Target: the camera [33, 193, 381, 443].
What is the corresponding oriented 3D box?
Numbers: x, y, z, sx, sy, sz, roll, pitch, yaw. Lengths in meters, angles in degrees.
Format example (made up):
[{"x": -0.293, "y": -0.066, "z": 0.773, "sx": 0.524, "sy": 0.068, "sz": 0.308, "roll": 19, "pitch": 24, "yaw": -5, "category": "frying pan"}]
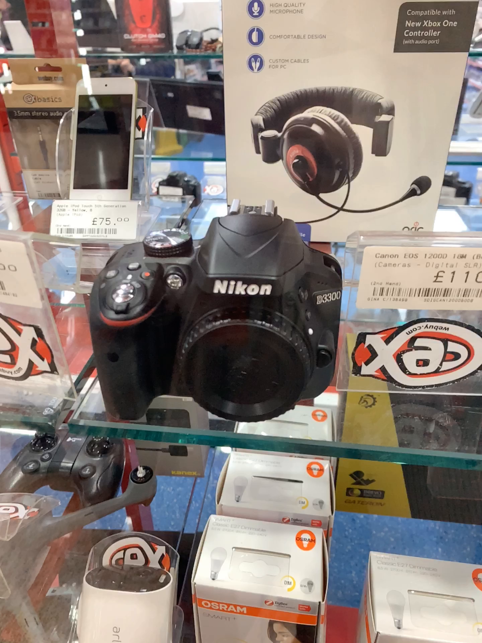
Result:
[{"x": -0.011, "y": -0.009, "z": 0.252, "sx": 0.130, "sy": 0.079, "sz": 0.111, "roll": 1, "pitch": 32, "yaw": 2, "category": "camera"}]
